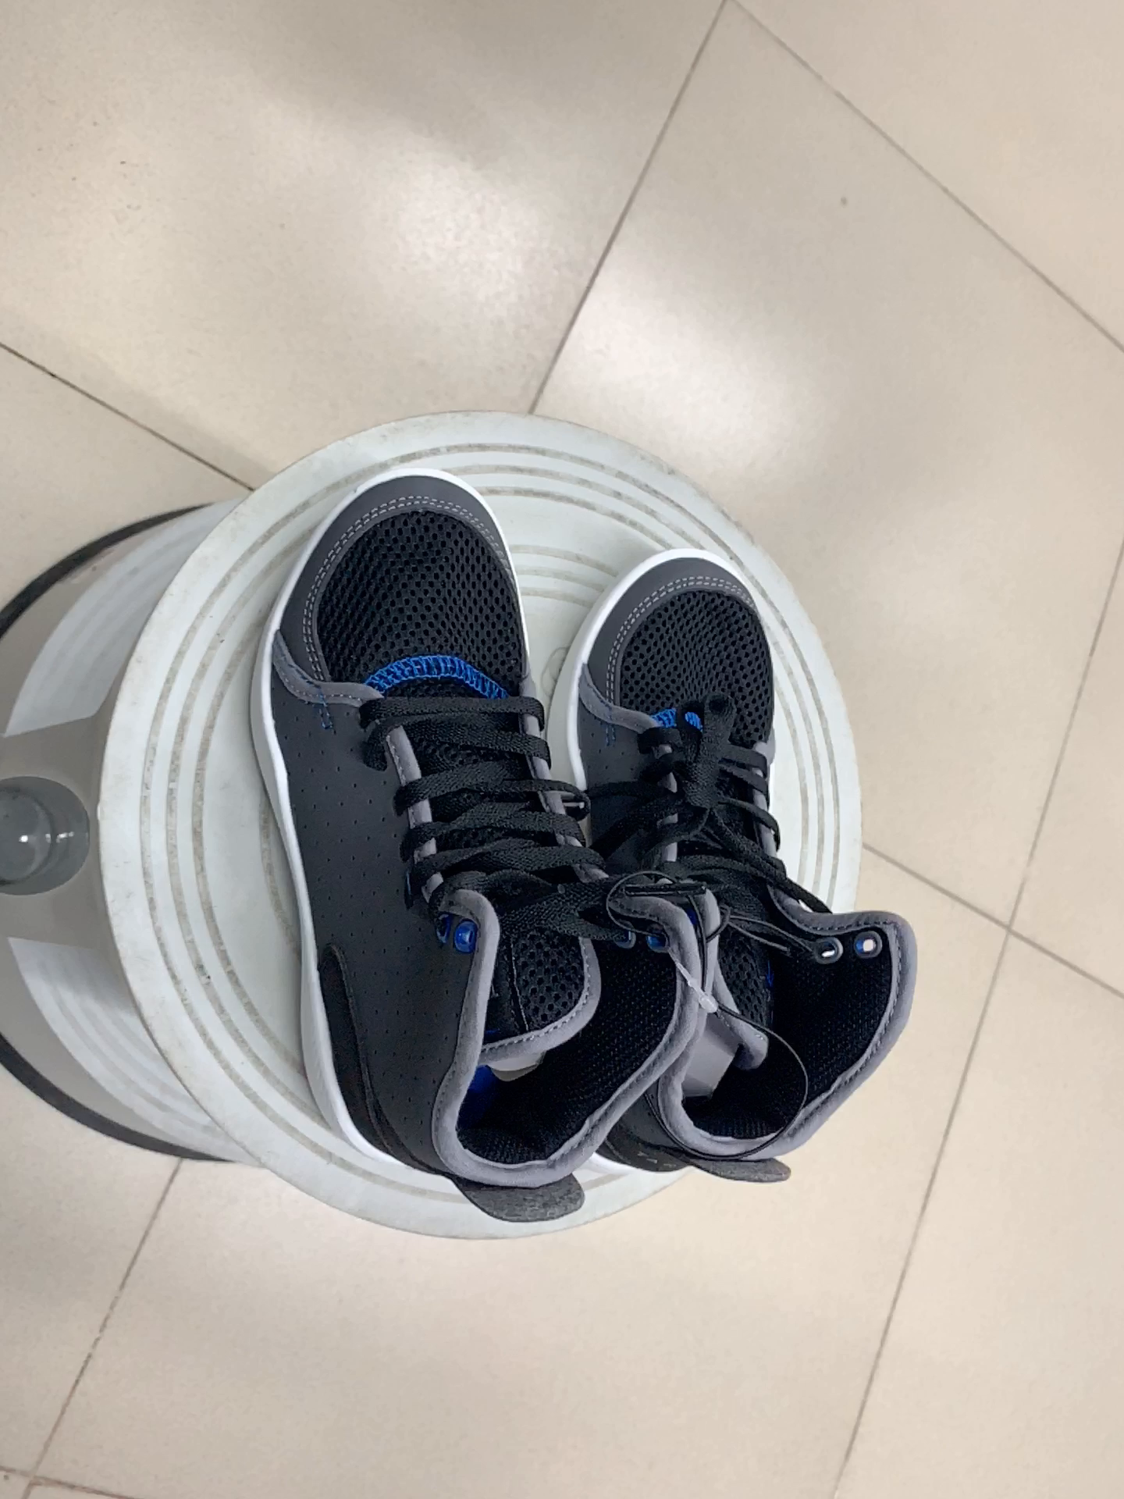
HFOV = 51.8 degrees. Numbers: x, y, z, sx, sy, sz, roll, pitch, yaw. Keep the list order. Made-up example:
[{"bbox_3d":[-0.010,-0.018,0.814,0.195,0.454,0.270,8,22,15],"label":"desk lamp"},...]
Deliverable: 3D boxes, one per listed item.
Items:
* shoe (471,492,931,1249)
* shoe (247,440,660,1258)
[{"bbox_3d":[0.040,0.038,0.376,0.080,0.120,0.200,9,82,-25],"label":"shoe"},{"bbox_3d":[-0.038,0.026,0.348,0.090,0.100,0.200,0,86,-25],"label":"shoe"}]
